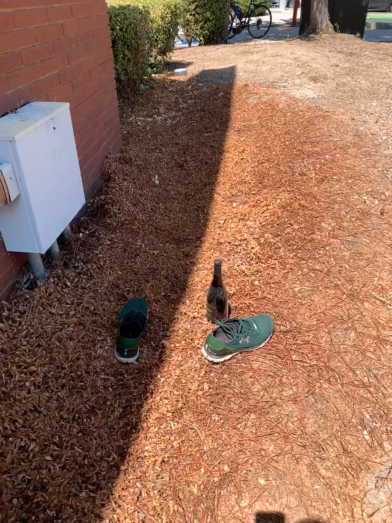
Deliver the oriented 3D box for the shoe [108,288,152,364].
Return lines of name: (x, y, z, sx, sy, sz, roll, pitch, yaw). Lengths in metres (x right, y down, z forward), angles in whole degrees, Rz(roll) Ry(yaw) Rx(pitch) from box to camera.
shoe: (-0.239, 0.230, 1.498, 0.120, 0.070, 0.332, -1, 34, 0)

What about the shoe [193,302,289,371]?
shoe: (0.163, 0.261, 1.441, 0.320, 0.080, 0.131, -17, 37, -22)
